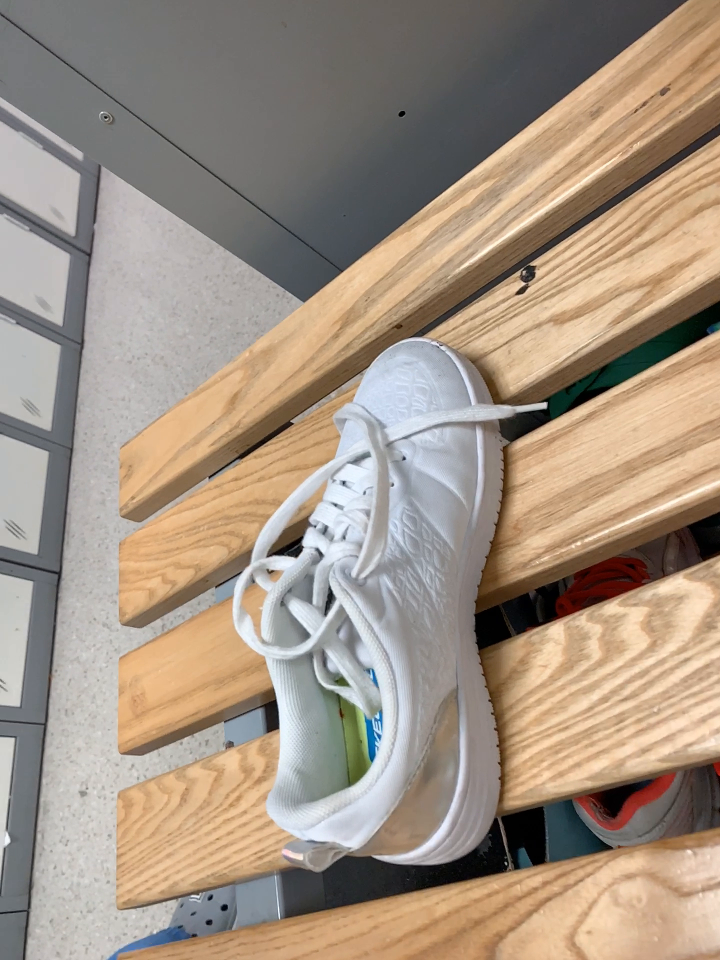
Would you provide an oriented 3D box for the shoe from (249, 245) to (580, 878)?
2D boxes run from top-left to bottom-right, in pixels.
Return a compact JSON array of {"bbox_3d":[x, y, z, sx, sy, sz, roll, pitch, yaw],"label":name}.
[{"bbox_3d":[0.017,0.034,0.333,0.100,0.075,0.251,-21,58,35],"label":"shoe"}]
